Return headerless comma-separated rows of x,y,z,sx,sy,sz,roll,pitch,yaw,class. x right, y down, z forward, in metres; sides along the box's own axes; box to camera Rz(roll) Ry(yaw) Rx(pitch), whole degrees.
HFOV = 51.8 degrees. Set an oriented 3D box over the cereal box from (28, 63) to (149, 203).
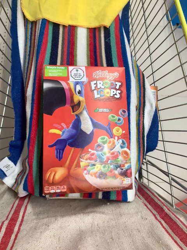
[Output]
-0.013,0.009,0.384,0.210,0.060,0.250,-1,79,-8,cereal box
